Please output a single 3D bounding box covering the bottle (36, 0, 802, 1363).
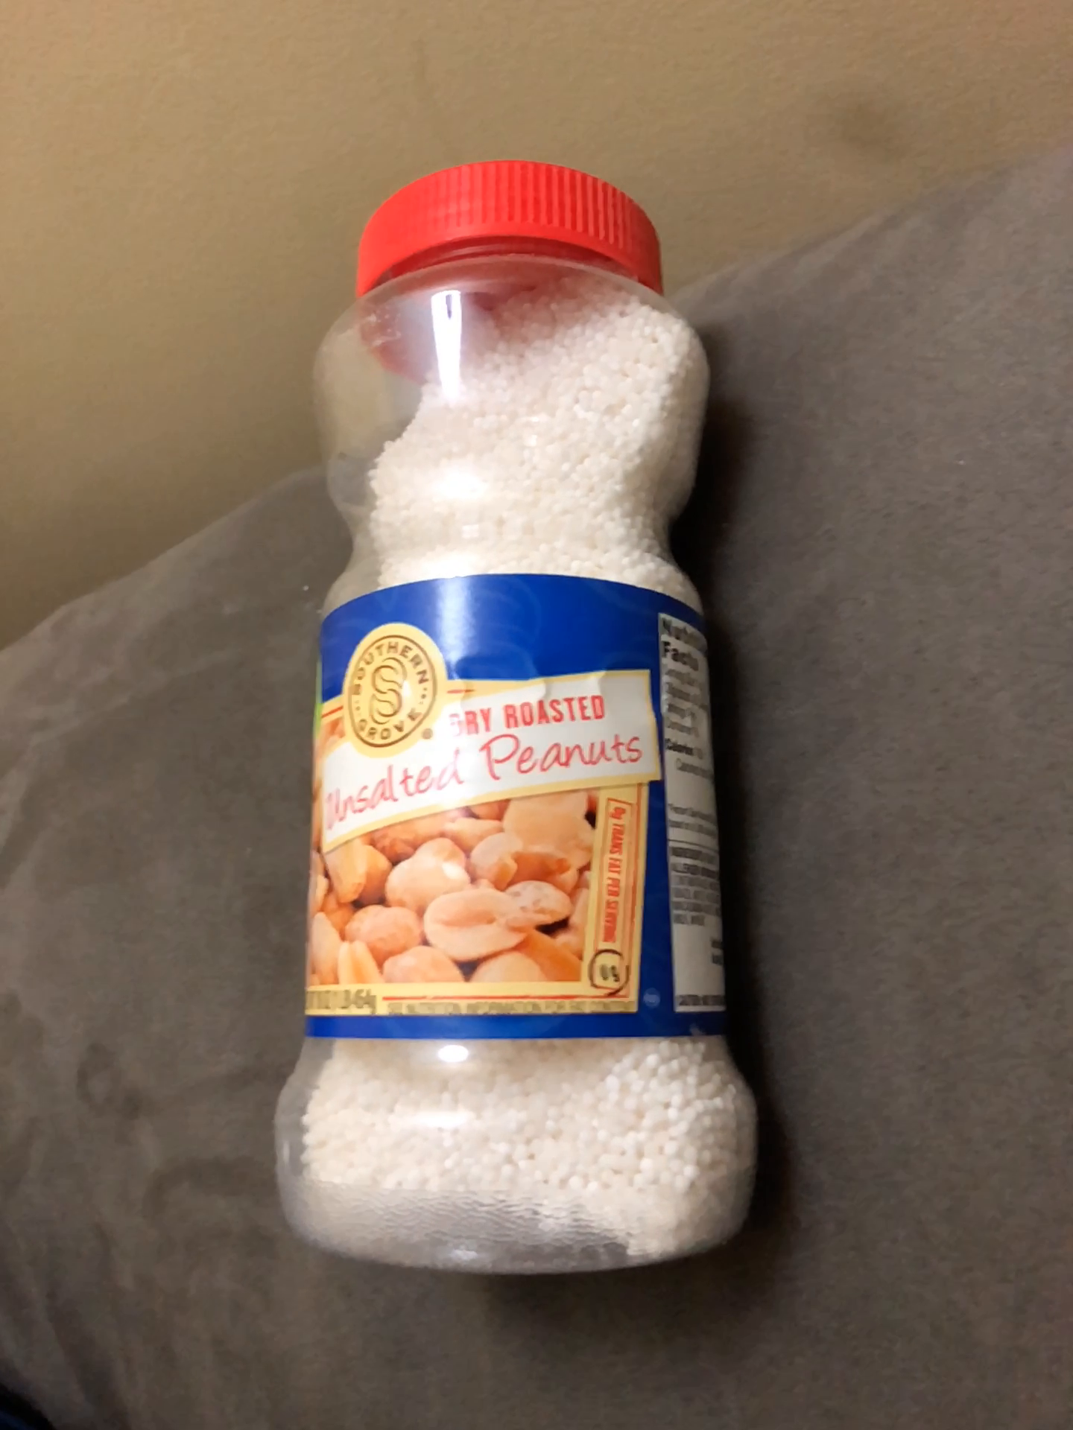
[{"bbox_3d":[-0.017,-0.014,0.232,0.096,0.090,0.220,-12,70,43],"label":"bottle"}]
